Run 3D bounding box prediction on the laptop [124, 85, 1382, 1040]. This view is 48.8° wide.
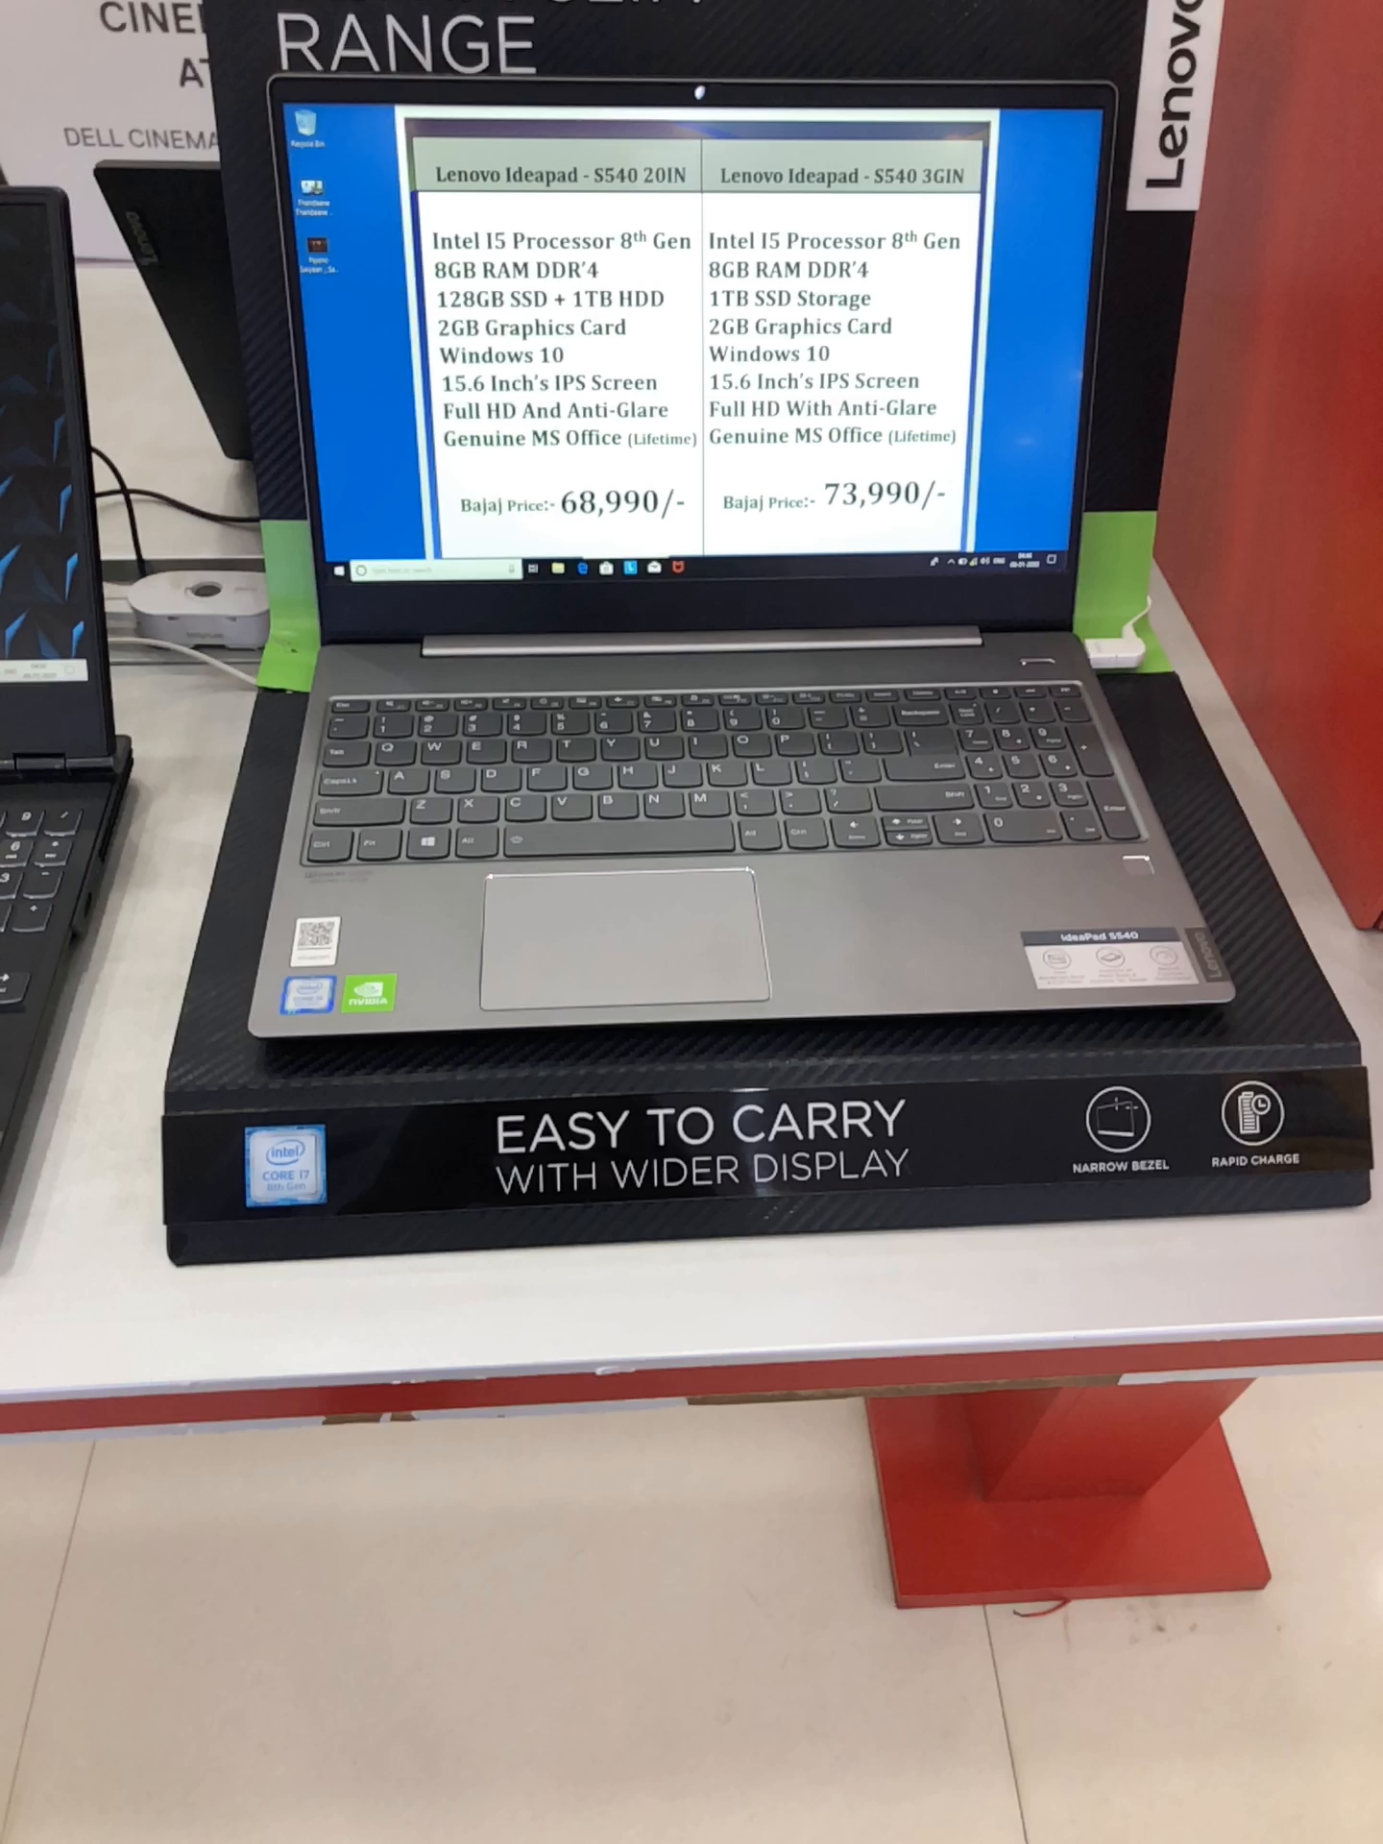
[{"bbox_3d":[0.015,-0.153,0.571,0.336,0.194,0.325,-2,45,-4],"label":"laptop"}]
